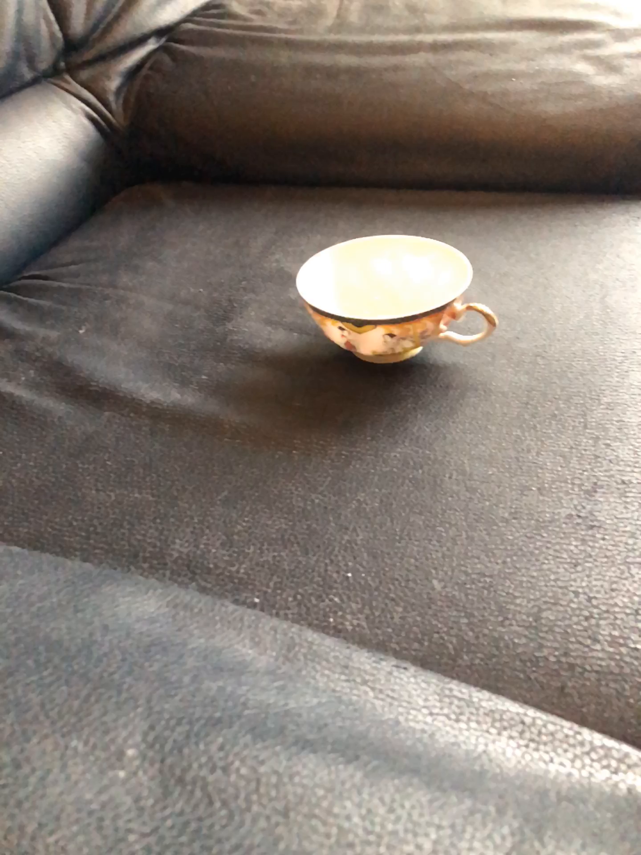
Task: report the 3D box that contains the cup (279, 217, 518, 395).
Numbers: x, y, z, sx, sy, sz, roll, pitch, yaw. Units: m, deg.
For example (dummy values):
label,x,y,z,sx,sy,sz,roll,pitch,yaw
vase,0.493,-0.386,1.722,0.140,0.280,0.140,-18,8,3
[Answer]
label,x,y,z,sx,sy,sz,roll,pitch,yaw
cup,0.047,-0.074,0.402,0.107,0.041,0.101,-2,40,2
